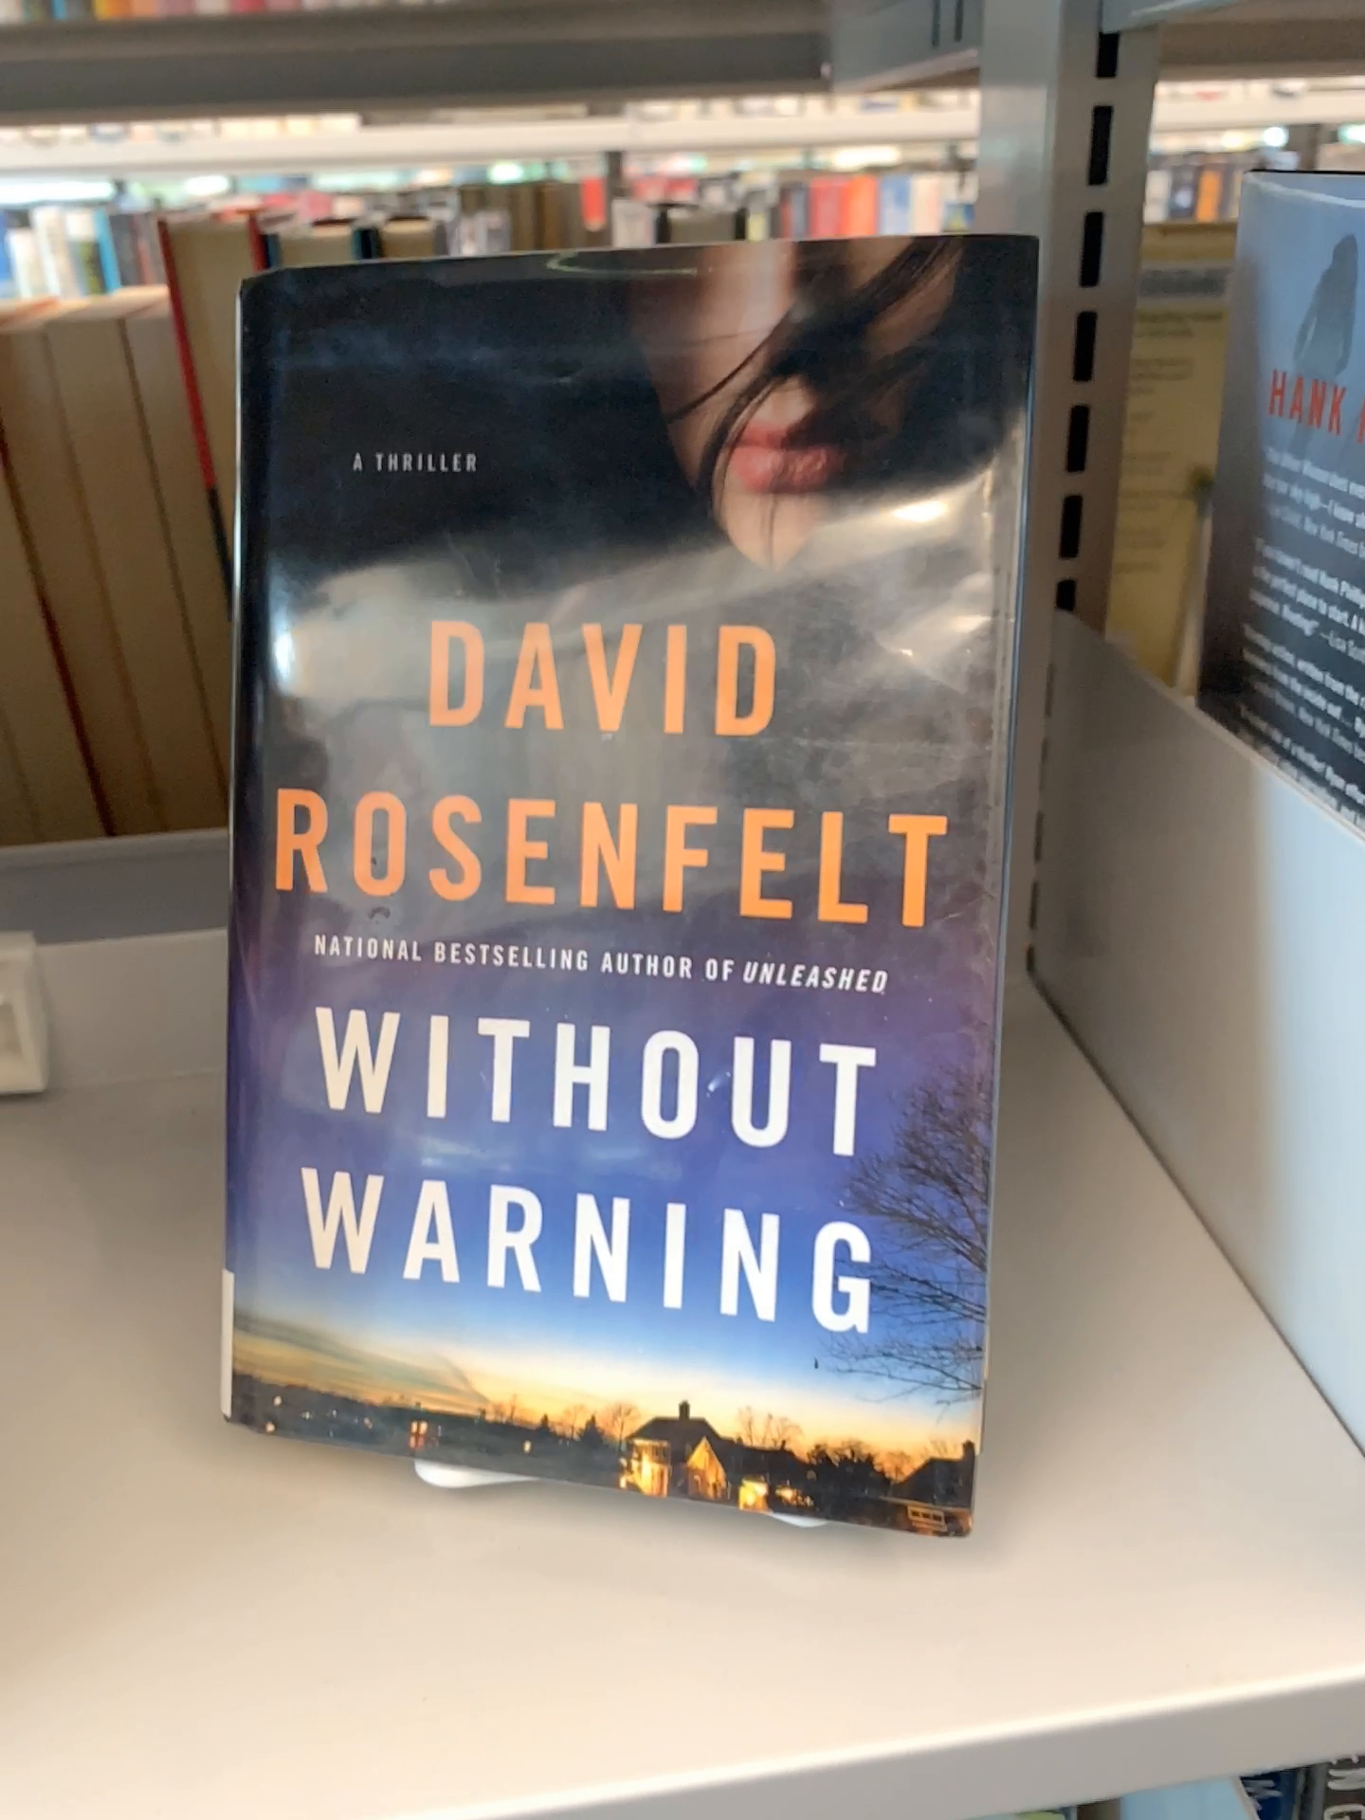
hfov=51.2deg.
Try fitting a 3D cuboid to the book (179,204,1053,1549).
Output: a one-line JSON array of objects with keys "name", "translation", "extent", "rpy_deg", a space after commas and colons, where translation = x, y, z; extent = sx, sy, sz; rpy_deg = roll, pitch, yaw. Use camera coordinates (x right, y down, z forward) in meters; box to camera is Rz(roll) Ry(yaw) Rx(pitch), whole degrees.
[{"name": "book", "translation": [-0.017, -0.007, 0.277], "extent": [0.157, 0.230, 0.035], "rpy_deg": [4, 6, 12]}]
